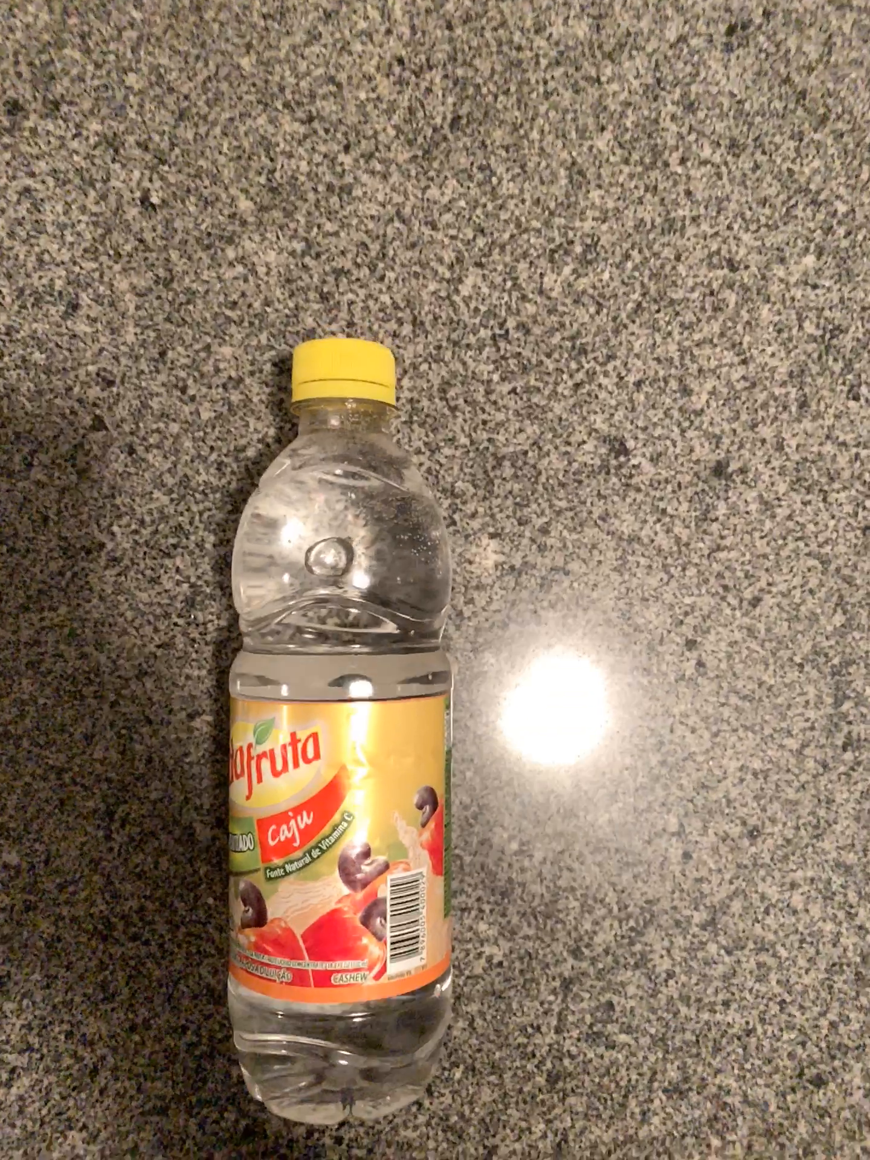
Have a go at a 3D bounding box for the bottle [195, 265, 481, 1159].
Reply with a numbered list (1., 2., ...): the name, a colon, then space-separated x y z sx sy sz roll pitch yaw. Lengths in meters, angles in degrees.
1. bottle: -0.027 0.035 0.258 0.070 0.060 0.230 -1 88 -5
